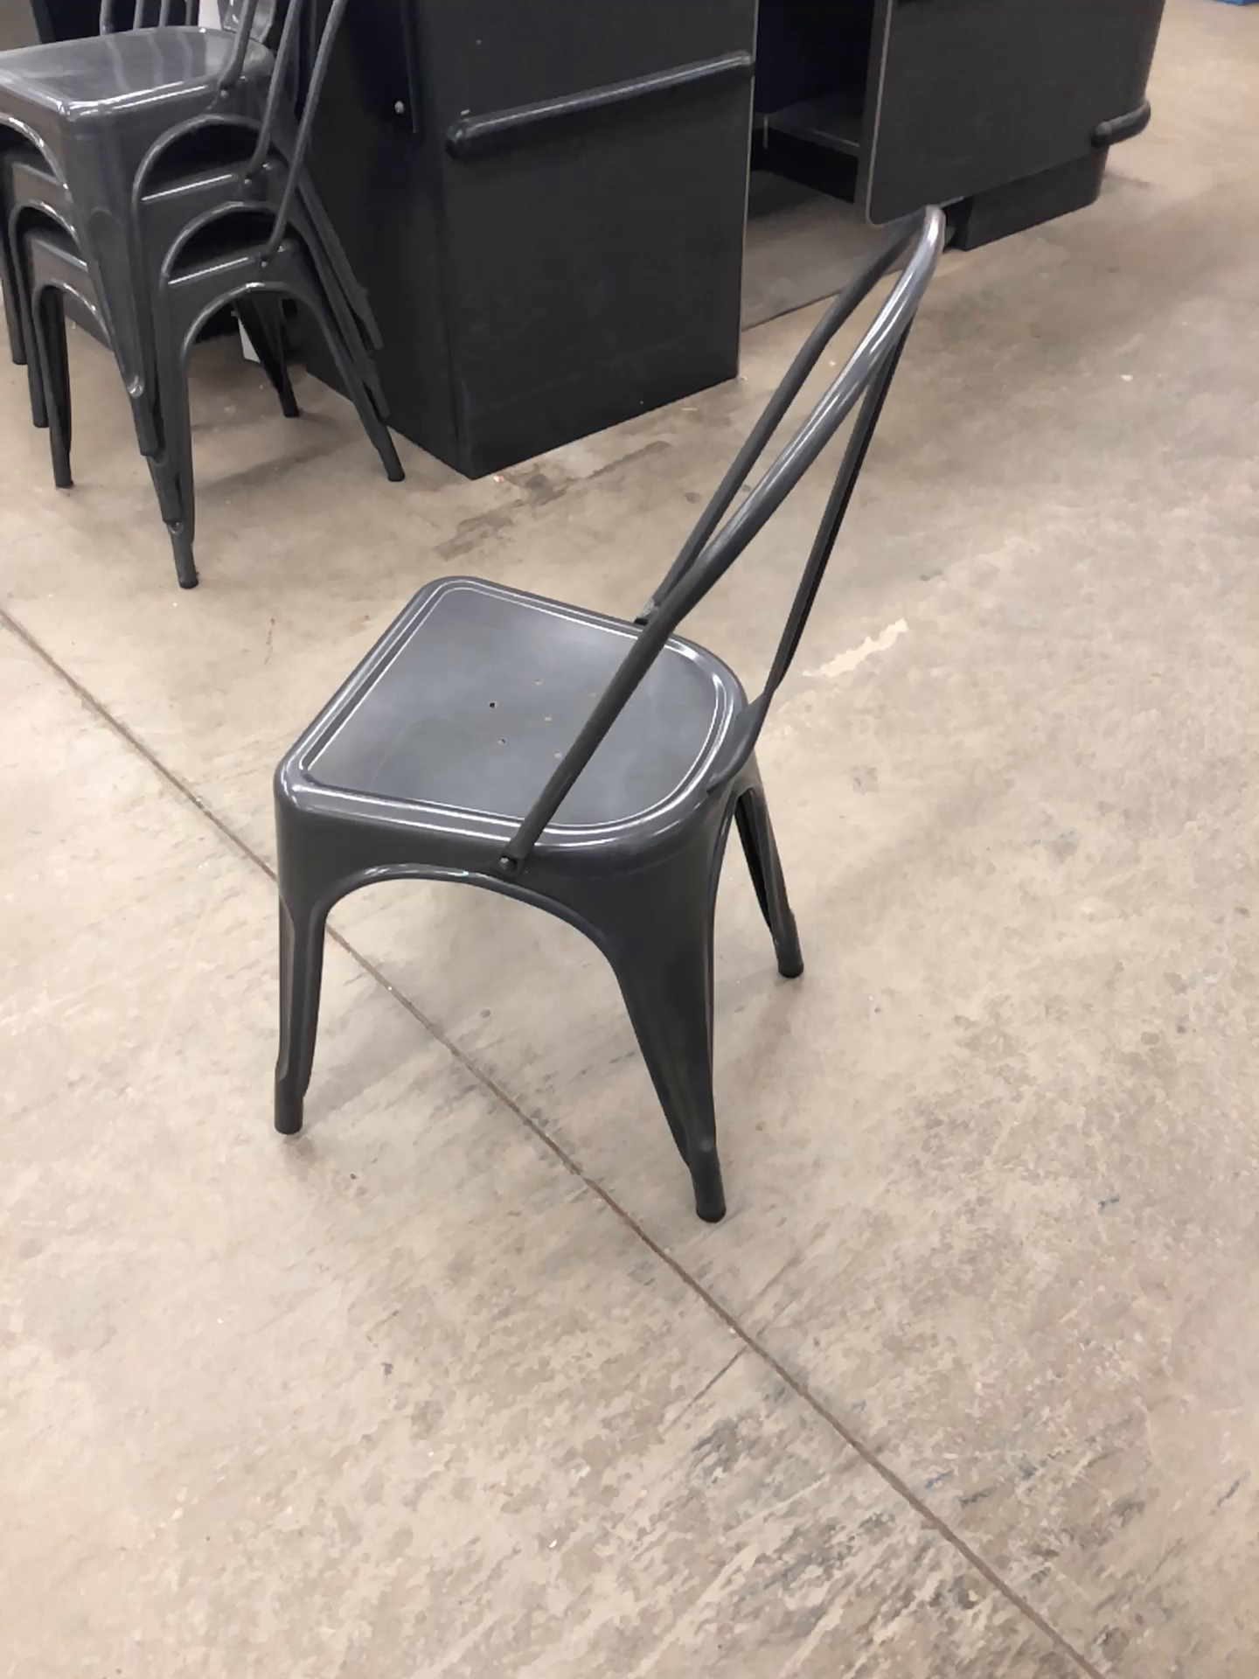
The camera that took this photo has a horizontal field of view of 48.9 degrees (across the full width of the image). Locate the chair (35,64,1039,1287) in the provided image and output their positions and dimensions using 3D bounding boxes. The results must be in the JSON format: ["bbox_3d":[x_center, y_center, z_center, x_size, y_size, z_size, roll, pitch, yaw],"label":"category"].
[{"bbox_3d":[-0.012,-0.113,1.157,0.500,0.817,0.481,12,45,14],"label":"chair"}]
